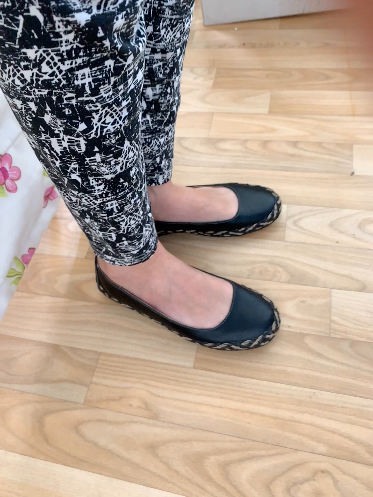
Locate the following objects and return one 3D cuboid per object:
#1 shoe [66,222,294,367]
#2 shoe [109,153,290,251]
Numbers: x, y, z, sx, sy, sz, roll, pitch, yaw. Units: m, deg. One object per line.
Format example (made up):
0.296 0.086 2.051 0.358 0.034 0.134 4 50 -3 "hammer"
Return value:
-0.008 0.055 0.505 0.265 0.070 0.100 15 62 17 "shoe"
0.016 -0.069 0.581 0.250 0.060 0.100 -7 58 4 "shoe"
